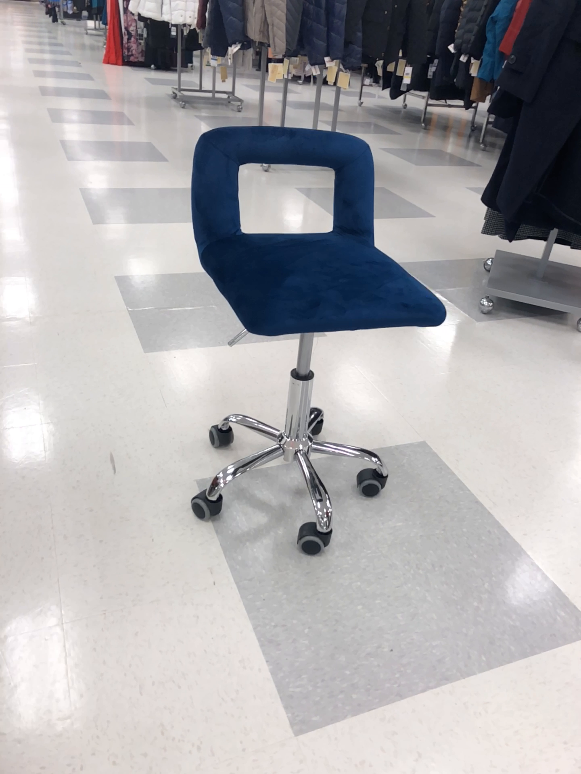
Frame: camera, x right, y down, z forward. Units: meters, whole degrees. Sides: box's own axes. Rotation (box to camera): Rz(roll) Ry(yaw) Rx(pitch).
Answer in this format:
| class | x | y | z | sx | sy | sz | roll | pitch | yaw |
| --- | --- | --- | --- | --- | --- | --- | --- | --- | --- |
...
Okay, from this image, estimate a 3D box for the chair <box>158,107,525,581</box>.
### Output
| class | x | y | z | sx | sy | sz | roll | pitch | yaw |
| --- | --- | --- | --- | --- | --- | --- | --- | --- | --- |
| chair | 0.014 | -0.115 | 1.263 | 0.448 | 0.719 | 0.531 | -6 | 33 | -21 |
